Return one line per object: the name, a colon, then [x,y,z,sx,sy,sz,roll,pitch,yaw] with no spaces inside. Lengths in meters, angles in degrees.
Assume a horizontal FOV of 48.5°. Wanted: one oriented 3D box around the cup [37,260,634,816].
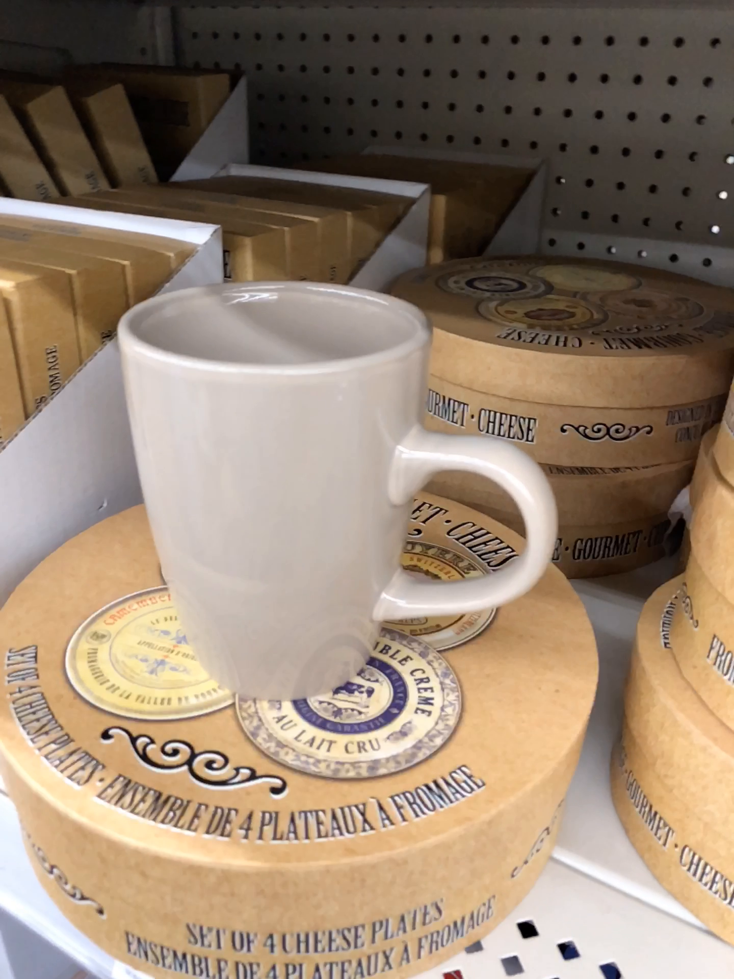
cup: [-0.009,0.000,0.239,0.130,0.100,0.090,18,32,29]
